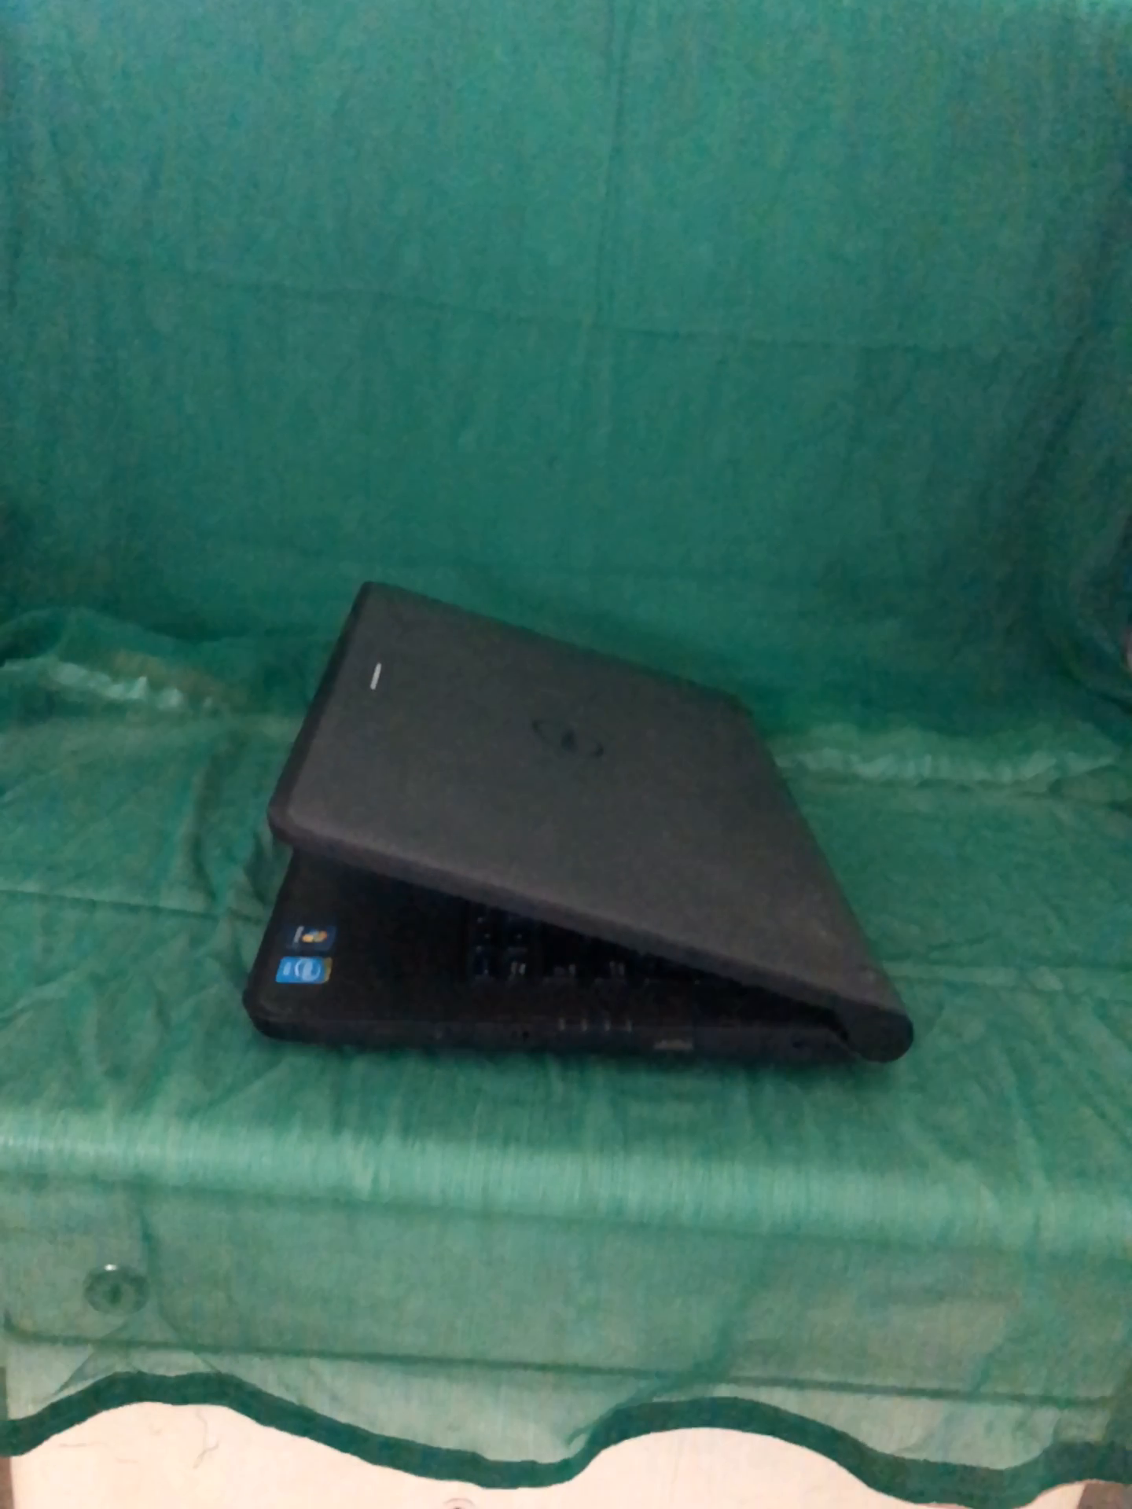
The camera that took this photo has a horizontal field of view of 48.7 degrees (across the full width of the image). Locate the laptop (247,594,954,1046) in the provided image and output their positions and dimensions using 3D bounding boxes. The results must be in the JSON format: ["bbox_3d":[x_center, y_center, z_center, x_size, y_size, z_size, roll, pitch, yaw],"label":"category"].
[{"bbox_3d":[0.003,0.007,0.558,0.229,0.064,0.307,4,21,-5],"label":"laptop"}]
